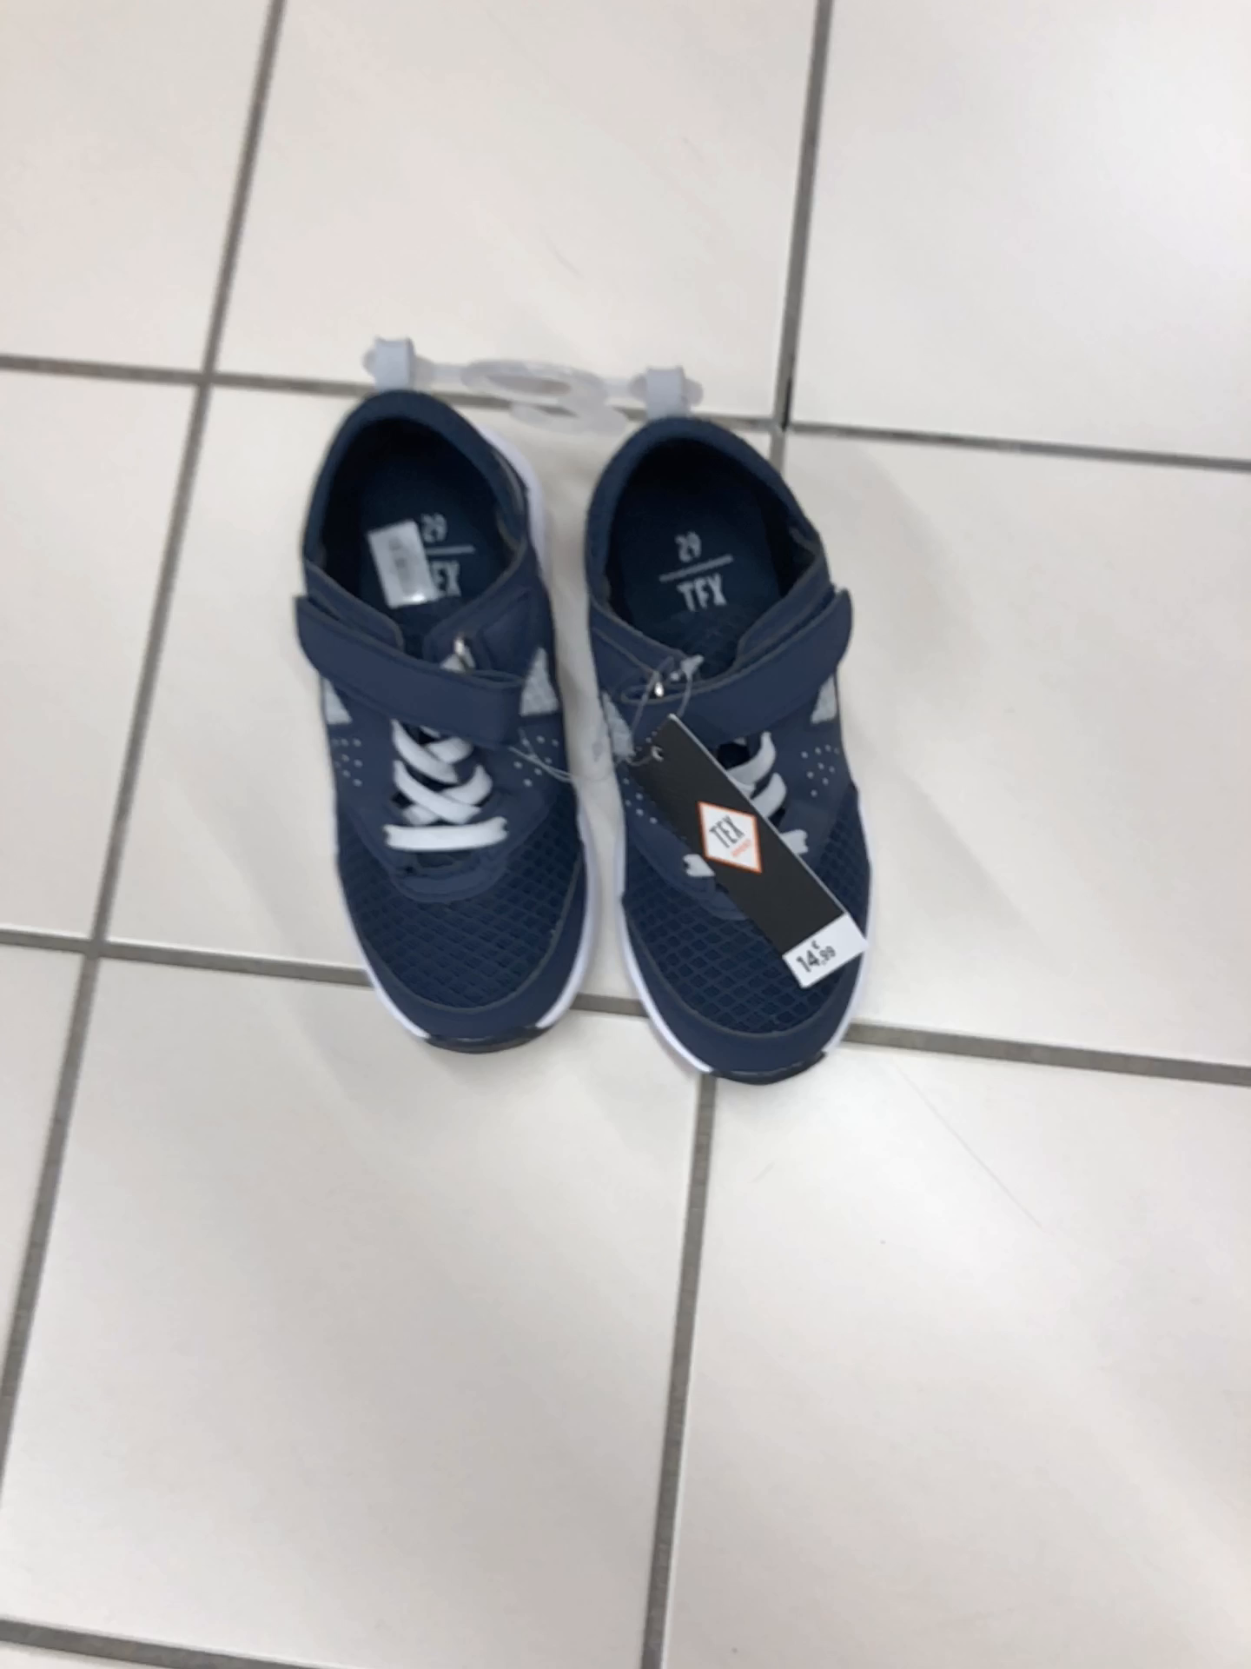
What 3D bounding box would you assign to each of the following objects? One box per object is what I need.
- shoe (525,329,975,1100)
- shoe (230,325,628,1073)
[{"bbox_3d":[0.031,-0.030,0.404,0.081,0.081,0.198,-11,78,0],"label":"shoe"},{"bbox_3d":[-0.056,-0.035,0.413,0.083,0.084,0.196,-8,78,1],"label":"shoe"}]
